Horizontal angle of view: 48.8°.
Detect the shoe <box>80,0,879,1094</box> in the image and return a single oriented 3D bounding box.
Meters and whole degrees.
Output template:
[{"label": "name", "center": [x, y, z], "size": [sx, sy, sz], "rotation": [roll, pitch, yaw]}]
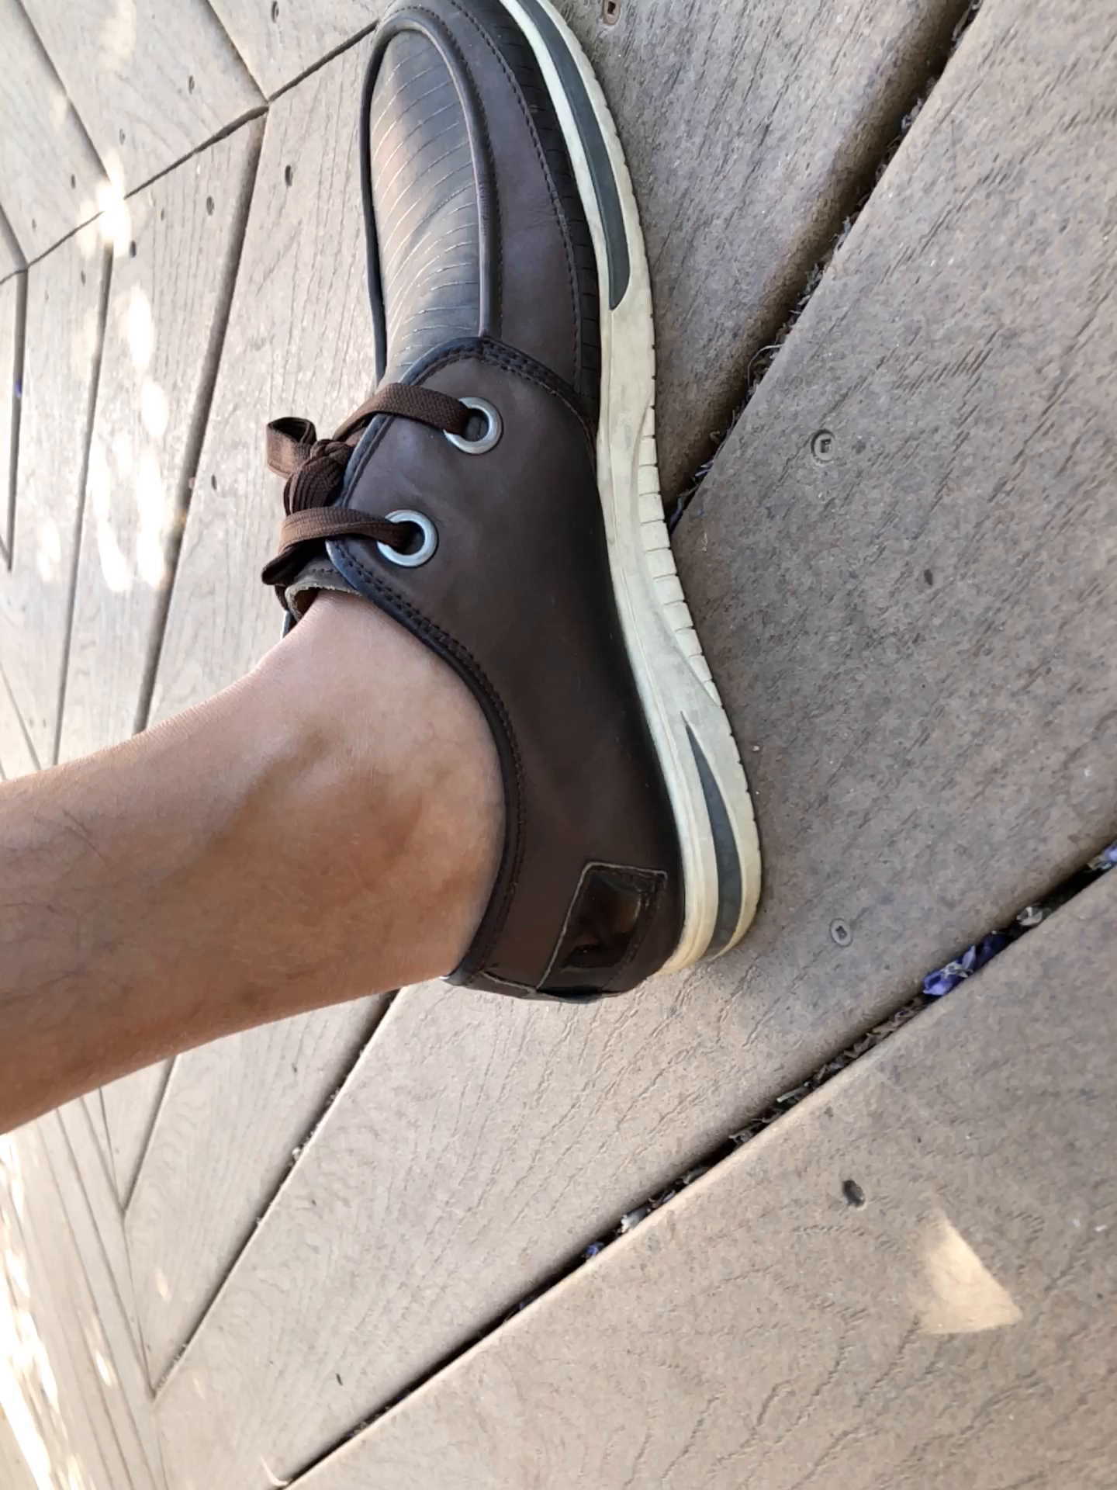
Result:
[{"label": "shoe", "center": [-0.024, -0.071, 0.339], "size": [0.111, 0.110, 0.295], "rotation": [-14, 90, 51]}]
